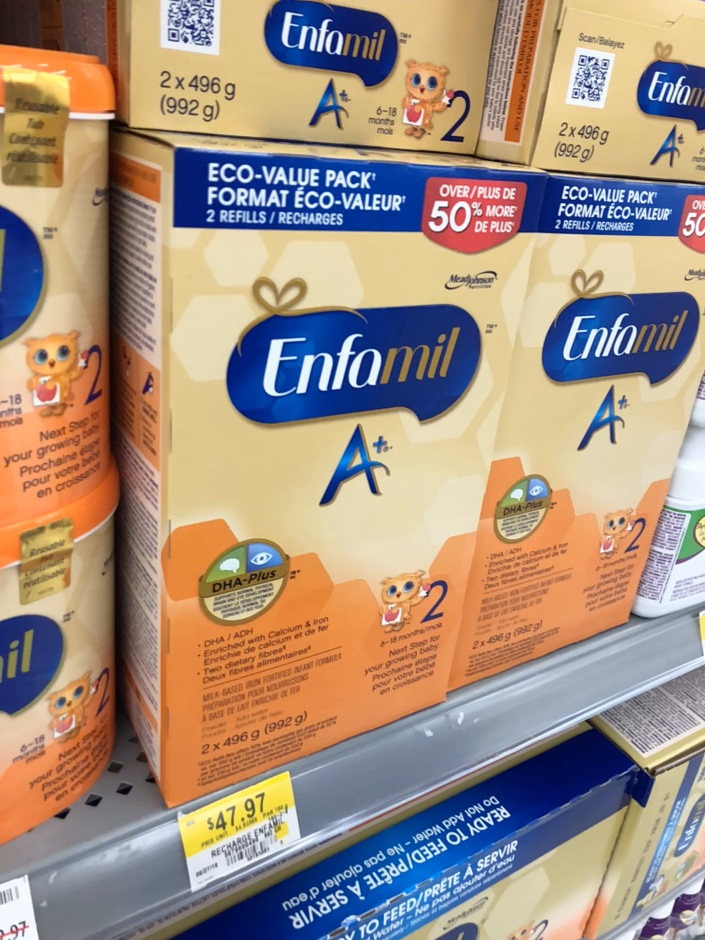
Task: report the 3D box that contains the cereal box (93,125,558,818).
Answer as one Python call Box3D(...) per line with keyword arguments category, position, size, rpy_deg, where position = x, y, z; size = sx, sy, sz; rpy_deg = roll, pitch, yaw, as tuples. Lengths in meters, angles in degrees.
Box3D(category="cereal box", position=(-0.021, -0.001, 0.317), size=(0.140, 0.238, 0.080), rpy_deg=(-10, 30, -33))
